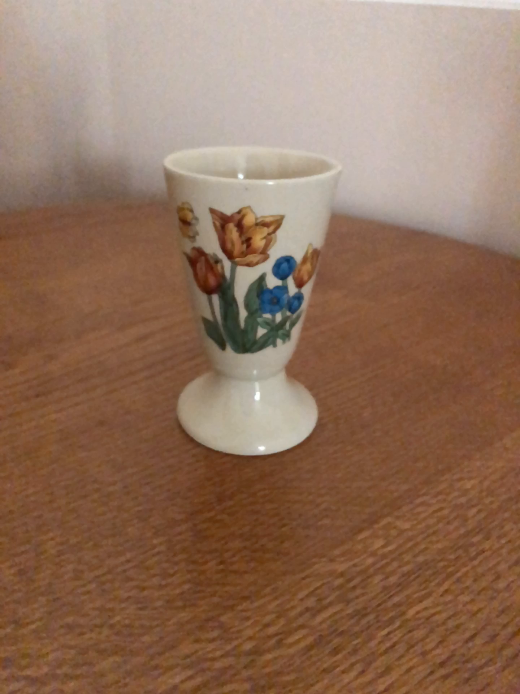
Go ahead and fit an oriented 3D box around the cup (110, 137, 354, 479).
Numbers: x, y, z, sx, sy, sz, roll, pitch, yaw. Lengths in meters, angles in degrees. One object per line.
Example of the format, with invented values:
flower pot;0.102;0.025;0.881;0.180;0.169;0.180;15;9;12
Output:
cup;-0.009;-0.019;0.254;0.080;0.119;0.080;3;28;-1

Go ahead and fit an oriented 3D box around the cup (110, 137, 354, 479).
cup;-0.009;-0.019;0.254;0.080;0.119;0.080;3;28;-1
